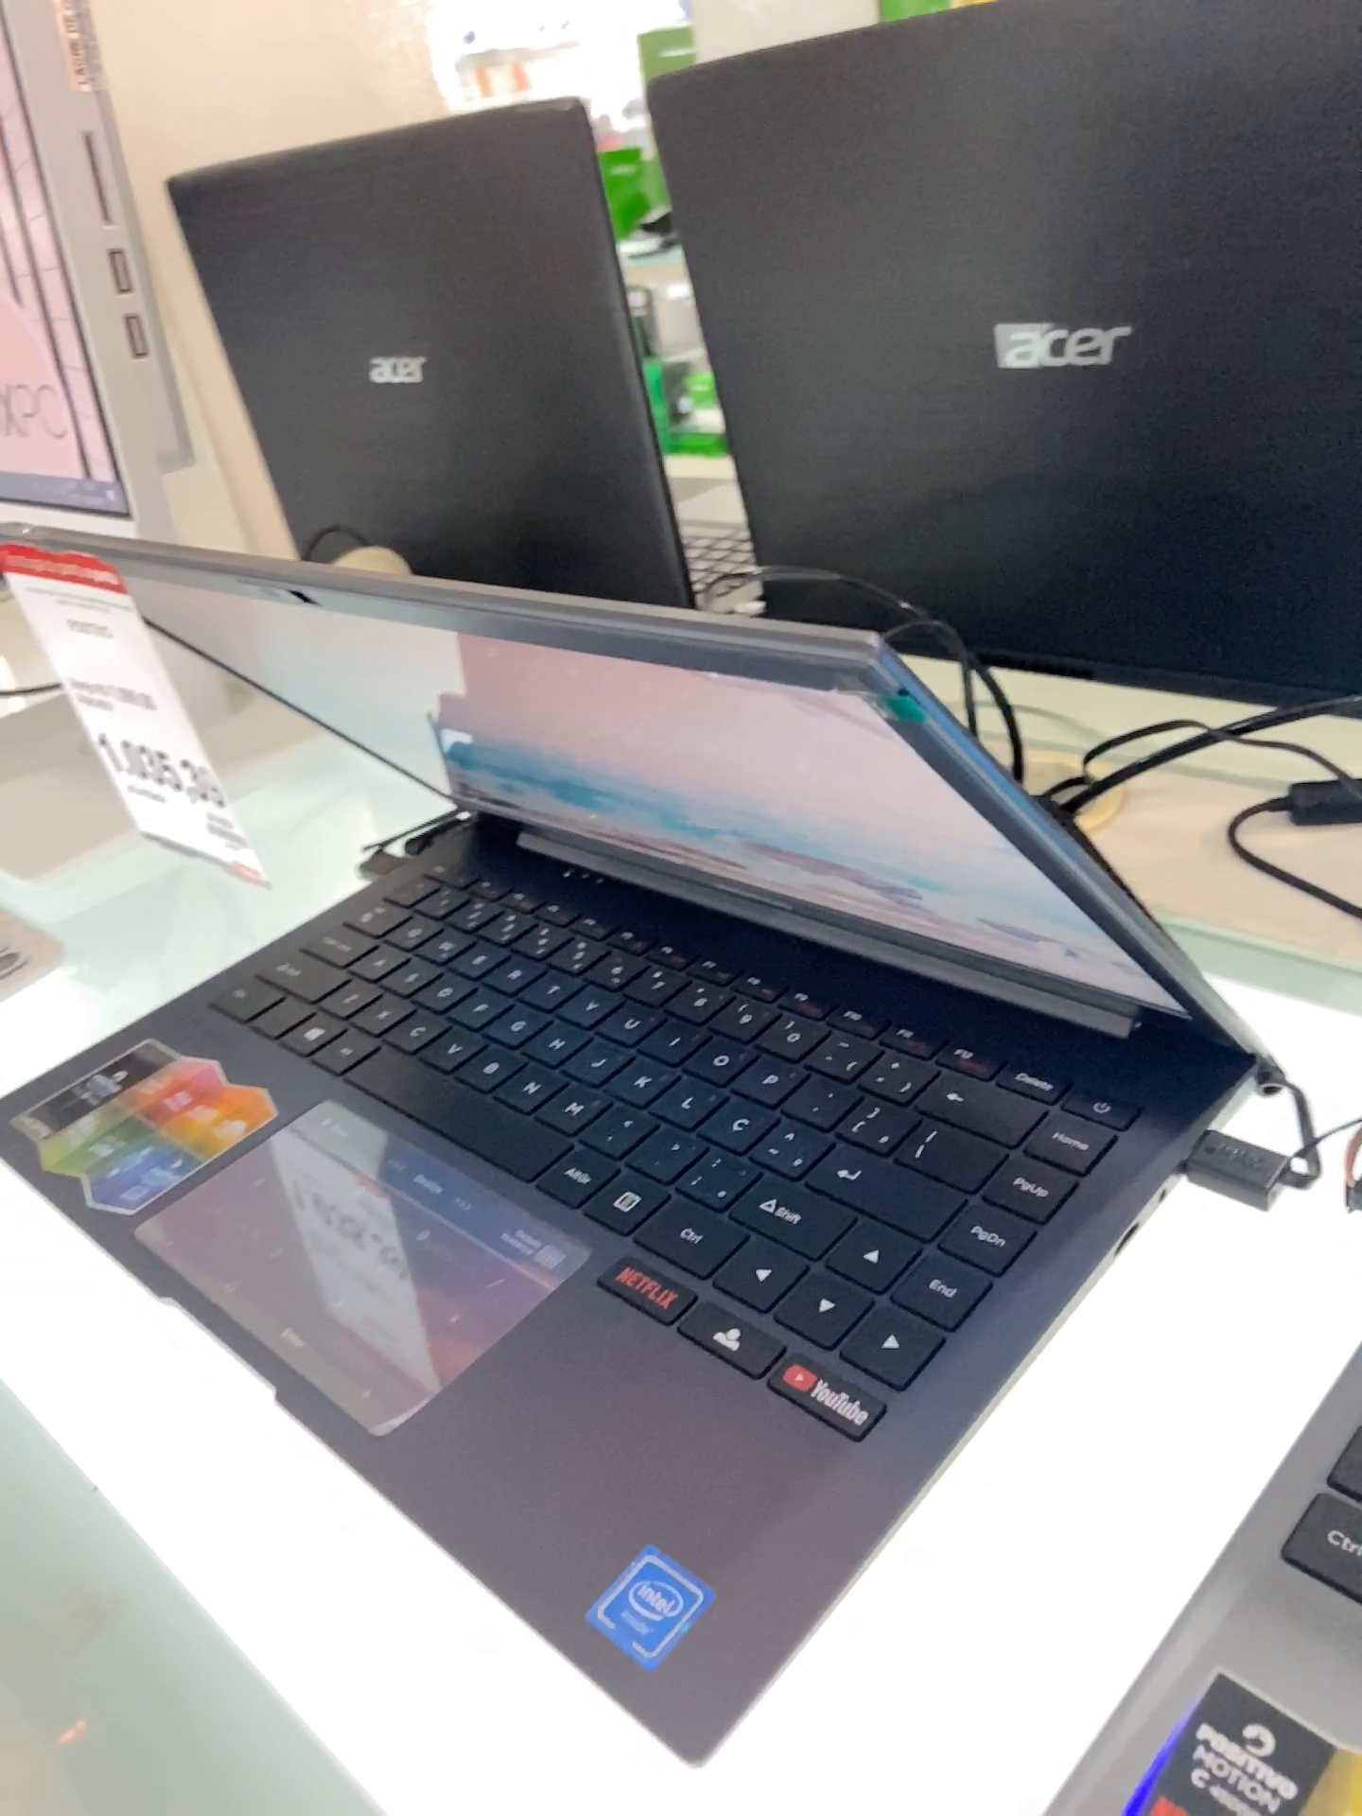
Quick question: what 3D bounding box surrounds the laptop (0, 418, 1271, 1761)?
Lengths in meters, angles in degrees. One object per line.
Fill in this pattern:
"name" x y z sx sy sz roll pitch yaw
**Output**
"laptop" -0.056 -0.015 0.380 0.334 0.163 0.222 18 41 42
